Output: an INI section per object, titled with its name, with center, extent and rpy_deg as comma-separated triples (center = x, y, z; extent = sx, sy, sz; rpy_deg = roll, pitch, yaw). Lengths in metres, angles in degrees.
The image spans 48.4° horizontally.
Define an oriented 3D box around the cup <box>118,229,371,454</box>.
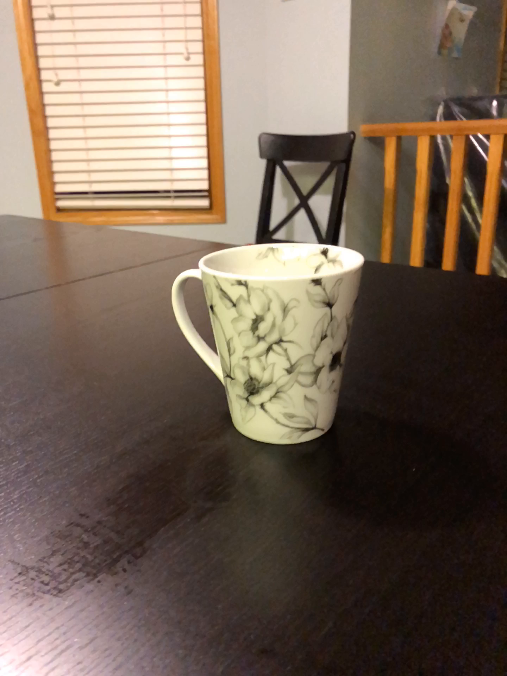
[cup]
center = 0.001, -0.008, 0.346
extent = 0.120, 0.100, 0.100
rpy_deg = 6, 20, 20
